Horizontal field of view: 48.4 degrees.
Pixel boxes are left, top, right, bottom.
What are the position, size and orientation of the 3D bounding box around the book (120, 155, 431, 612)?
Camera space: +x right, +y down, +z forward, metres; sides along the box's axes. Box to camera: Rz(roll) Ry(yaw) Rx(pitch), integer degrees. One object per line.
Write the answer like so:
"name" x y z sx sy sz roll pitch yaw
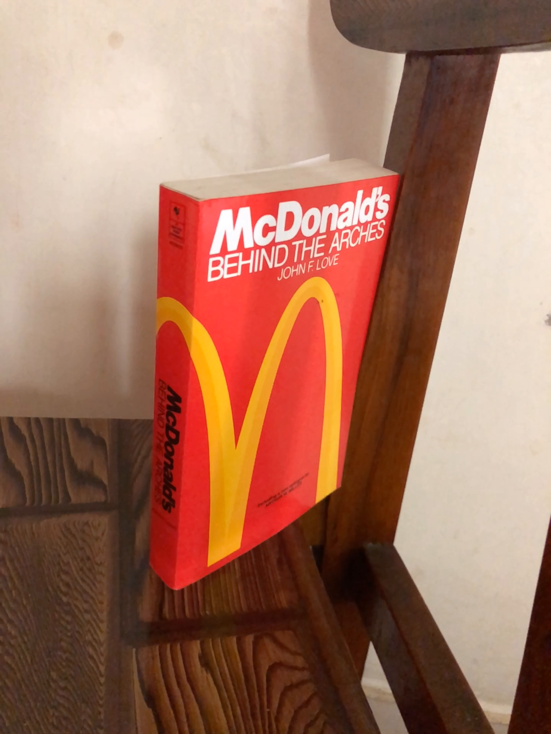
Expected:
"book" 0.002 0.000 0.372 0.040 0.239 0.191 27 31 34
